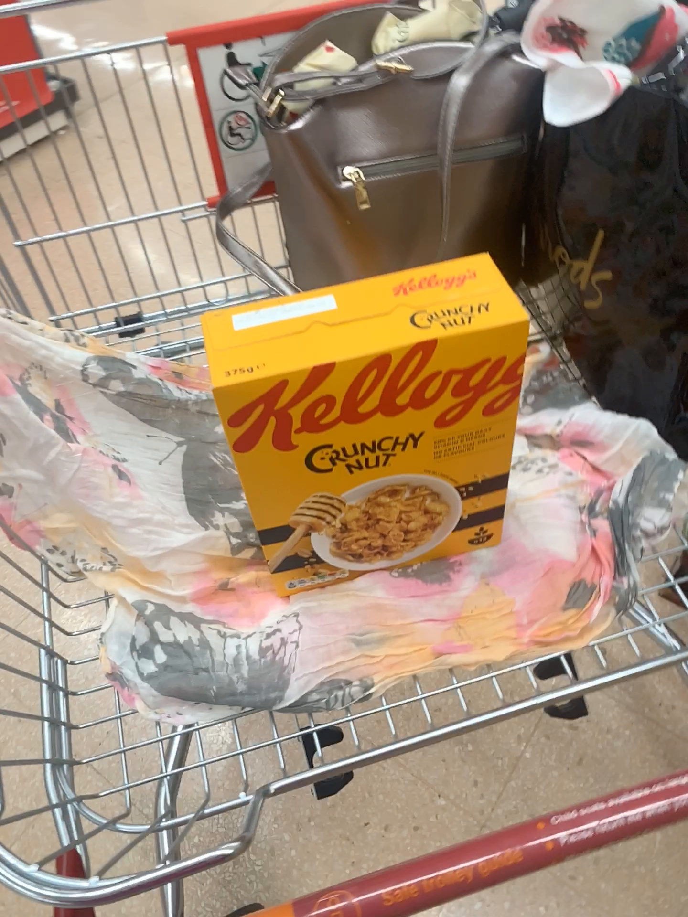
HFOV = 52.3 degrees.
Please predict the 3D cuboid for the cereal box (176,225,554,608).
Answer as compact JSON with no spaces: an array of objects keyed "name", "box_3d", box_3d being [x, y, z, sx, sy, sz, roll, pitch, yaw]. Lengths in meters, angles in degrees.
[{"name":"cereal box","box_3d":[0.018,-0.014,0.513,0.210,0.258,0.081,-14,50,-6]}]
